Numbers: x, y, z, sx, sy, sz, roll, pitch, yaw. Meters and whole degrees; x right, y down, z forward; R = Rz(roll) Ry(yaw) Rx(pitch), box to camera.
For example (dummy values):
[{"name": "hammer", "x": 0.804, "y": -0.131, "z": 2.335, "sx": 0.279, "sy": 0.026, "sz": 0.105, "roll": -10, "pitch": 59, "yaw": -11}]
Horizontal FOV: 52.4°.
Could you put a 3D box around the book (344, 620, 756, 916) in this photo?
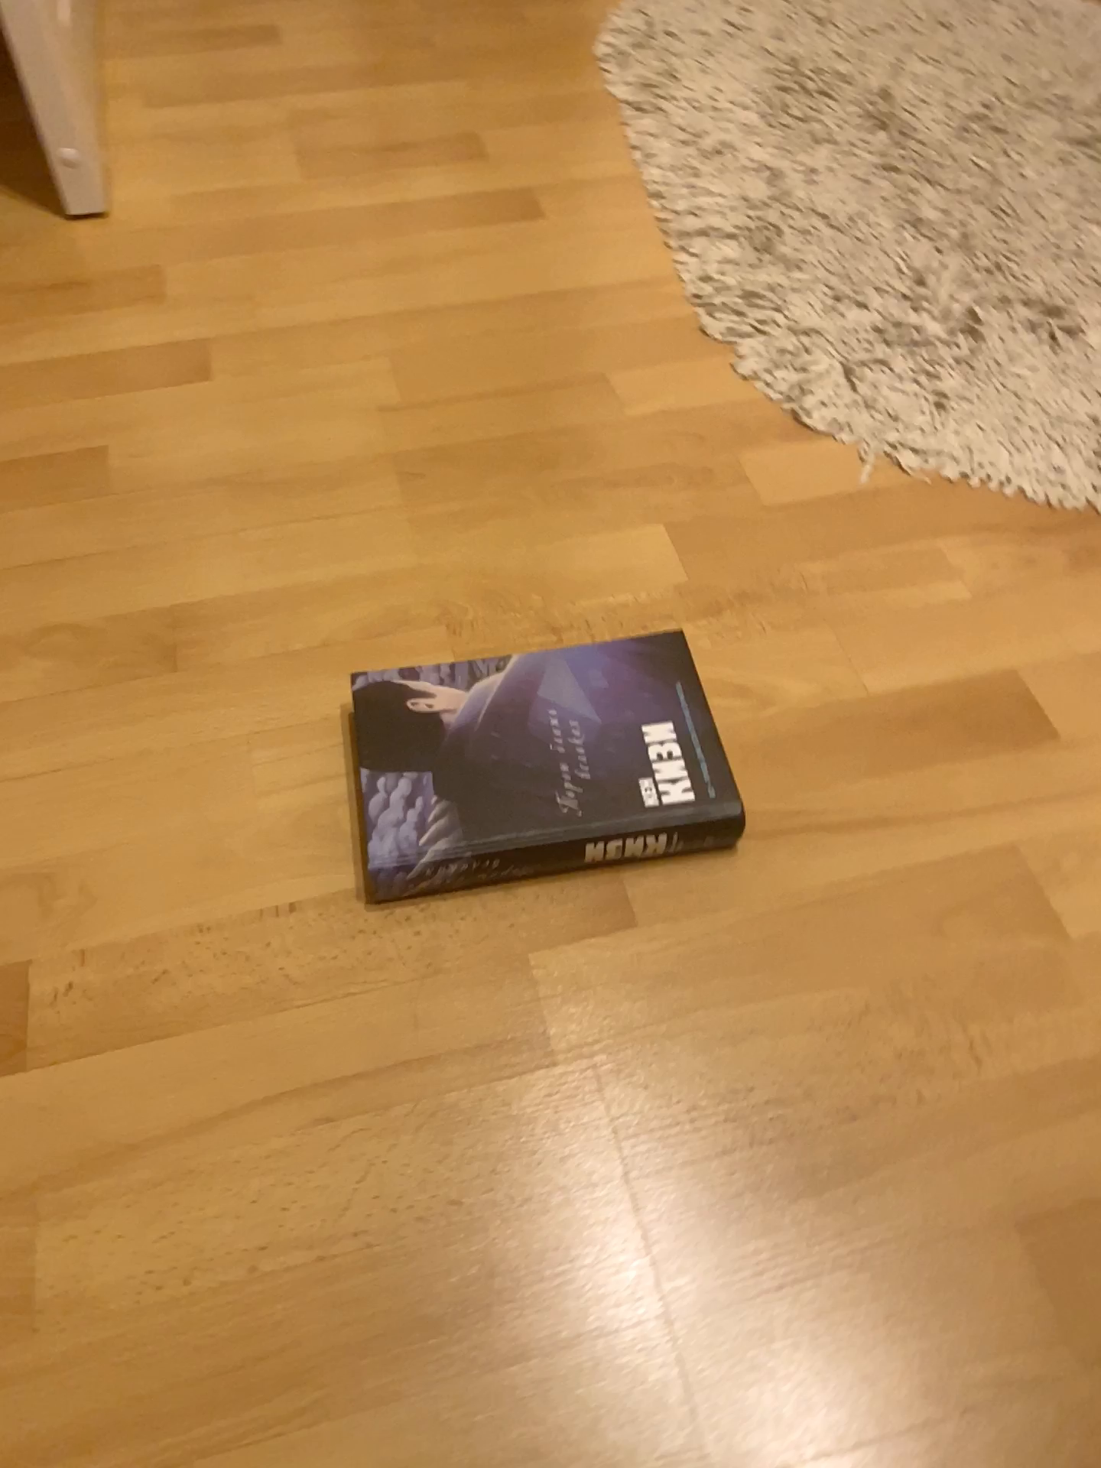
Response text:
[{"name": "book", "x": -0.006, "y": 0.016, "z": 0.690, "sx": 0.224, "sy": 0.050, "sz": 0.151, "roll": -8, "pitch": 54, "yaw": -6}]
